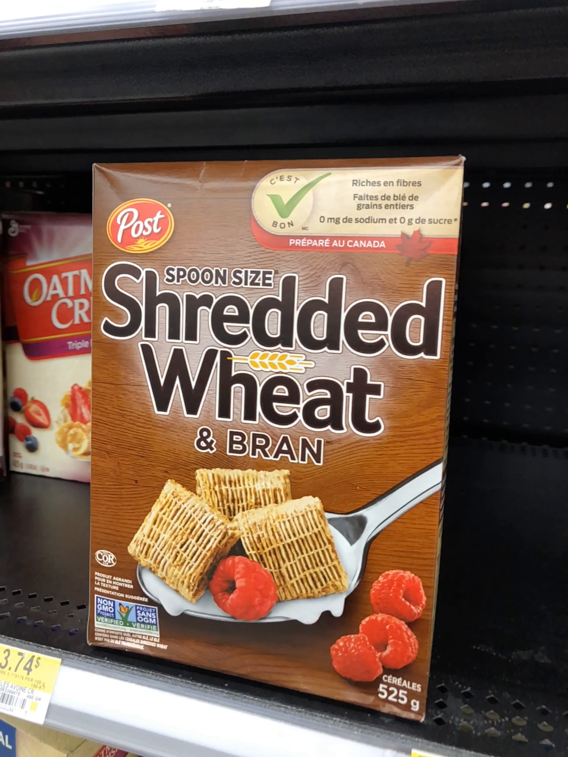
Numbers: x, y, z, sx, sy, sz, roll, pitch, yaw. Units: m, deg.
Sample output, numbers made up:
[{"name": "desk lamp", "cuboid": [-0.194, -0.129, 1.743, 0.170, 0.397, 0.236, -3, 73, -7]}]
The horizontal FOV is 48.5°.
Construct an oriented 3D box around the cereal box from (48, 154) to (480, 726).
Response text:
[{"name": "cereal box", "cuboid": [-0.016, 0.022, 0.336, 0.210, 0.259, 0.060, 5, 7, 16]}]
